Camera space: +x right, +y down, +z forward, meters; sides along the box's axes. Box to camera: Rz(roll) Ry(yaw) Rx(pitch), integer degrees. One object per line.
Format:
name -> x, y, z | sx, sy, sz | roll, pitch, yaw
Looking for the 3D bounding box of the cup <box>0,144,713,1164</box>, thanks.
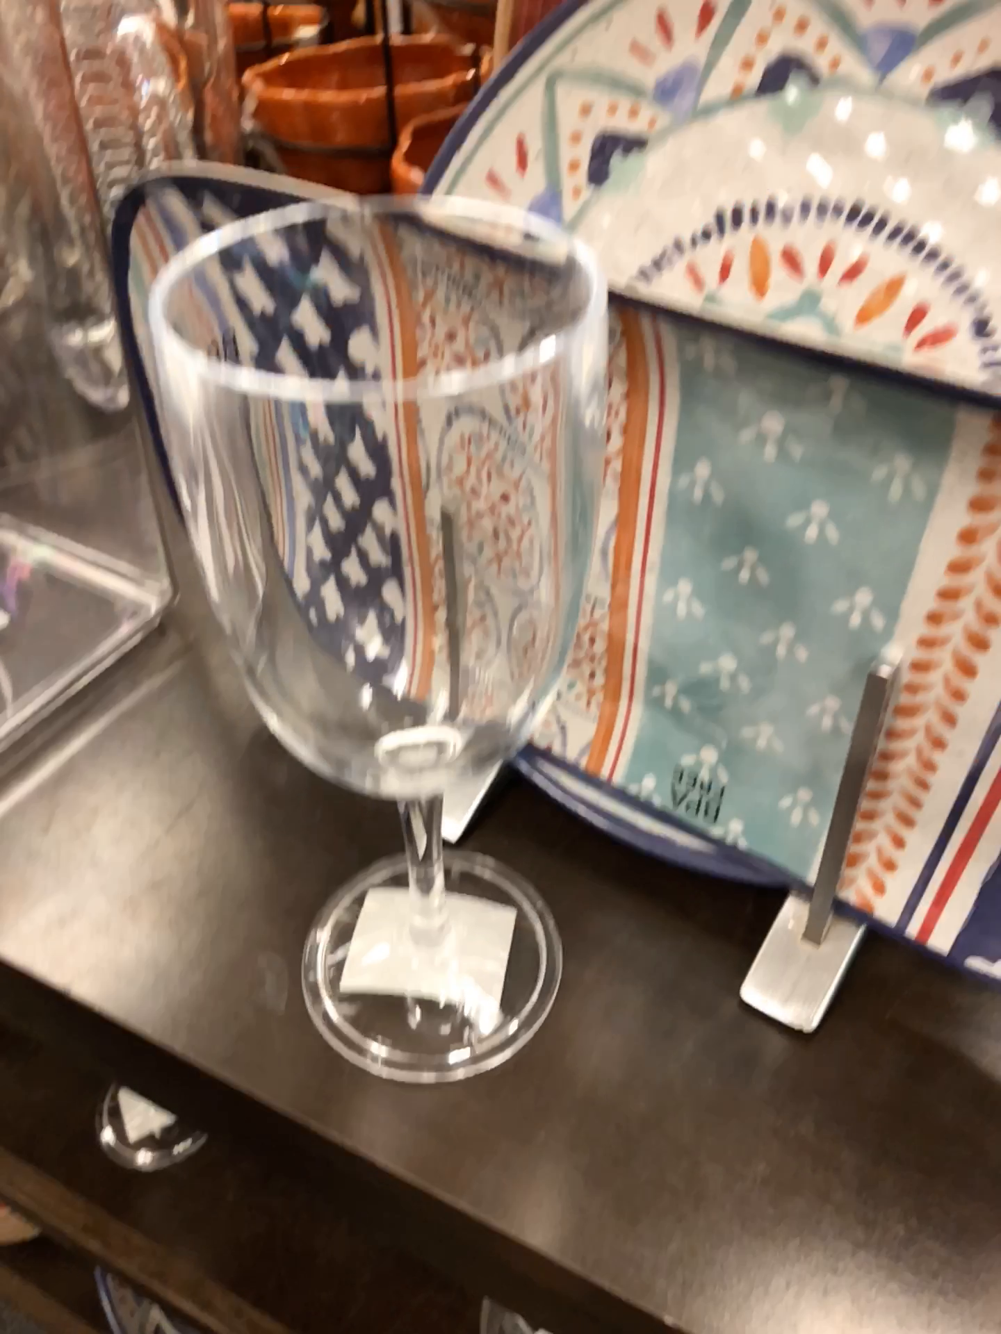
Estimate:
cup -> -0.023, 0.007, 0.249 | 0.090, 0.200, 0.085 | 0, 42, 0
